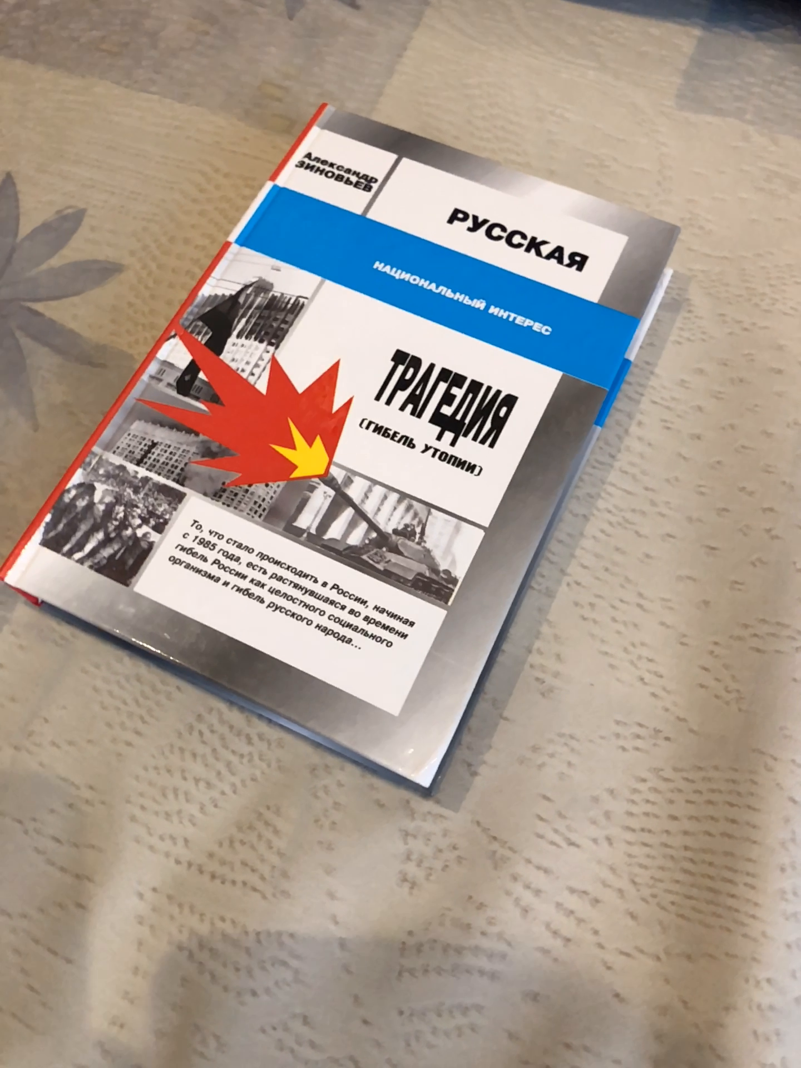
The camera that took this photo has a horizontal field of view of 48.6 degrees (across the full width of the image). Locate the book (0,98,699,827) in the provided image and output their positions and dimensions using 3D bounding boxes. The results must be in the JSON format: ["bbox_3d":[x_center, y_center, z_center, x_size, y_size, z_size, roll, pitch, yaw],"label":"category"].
[{"bbox_3d":[-0.018,-0.037,0.291,0.160,0.040,0.201,24,70,13],"label":"book"}]
